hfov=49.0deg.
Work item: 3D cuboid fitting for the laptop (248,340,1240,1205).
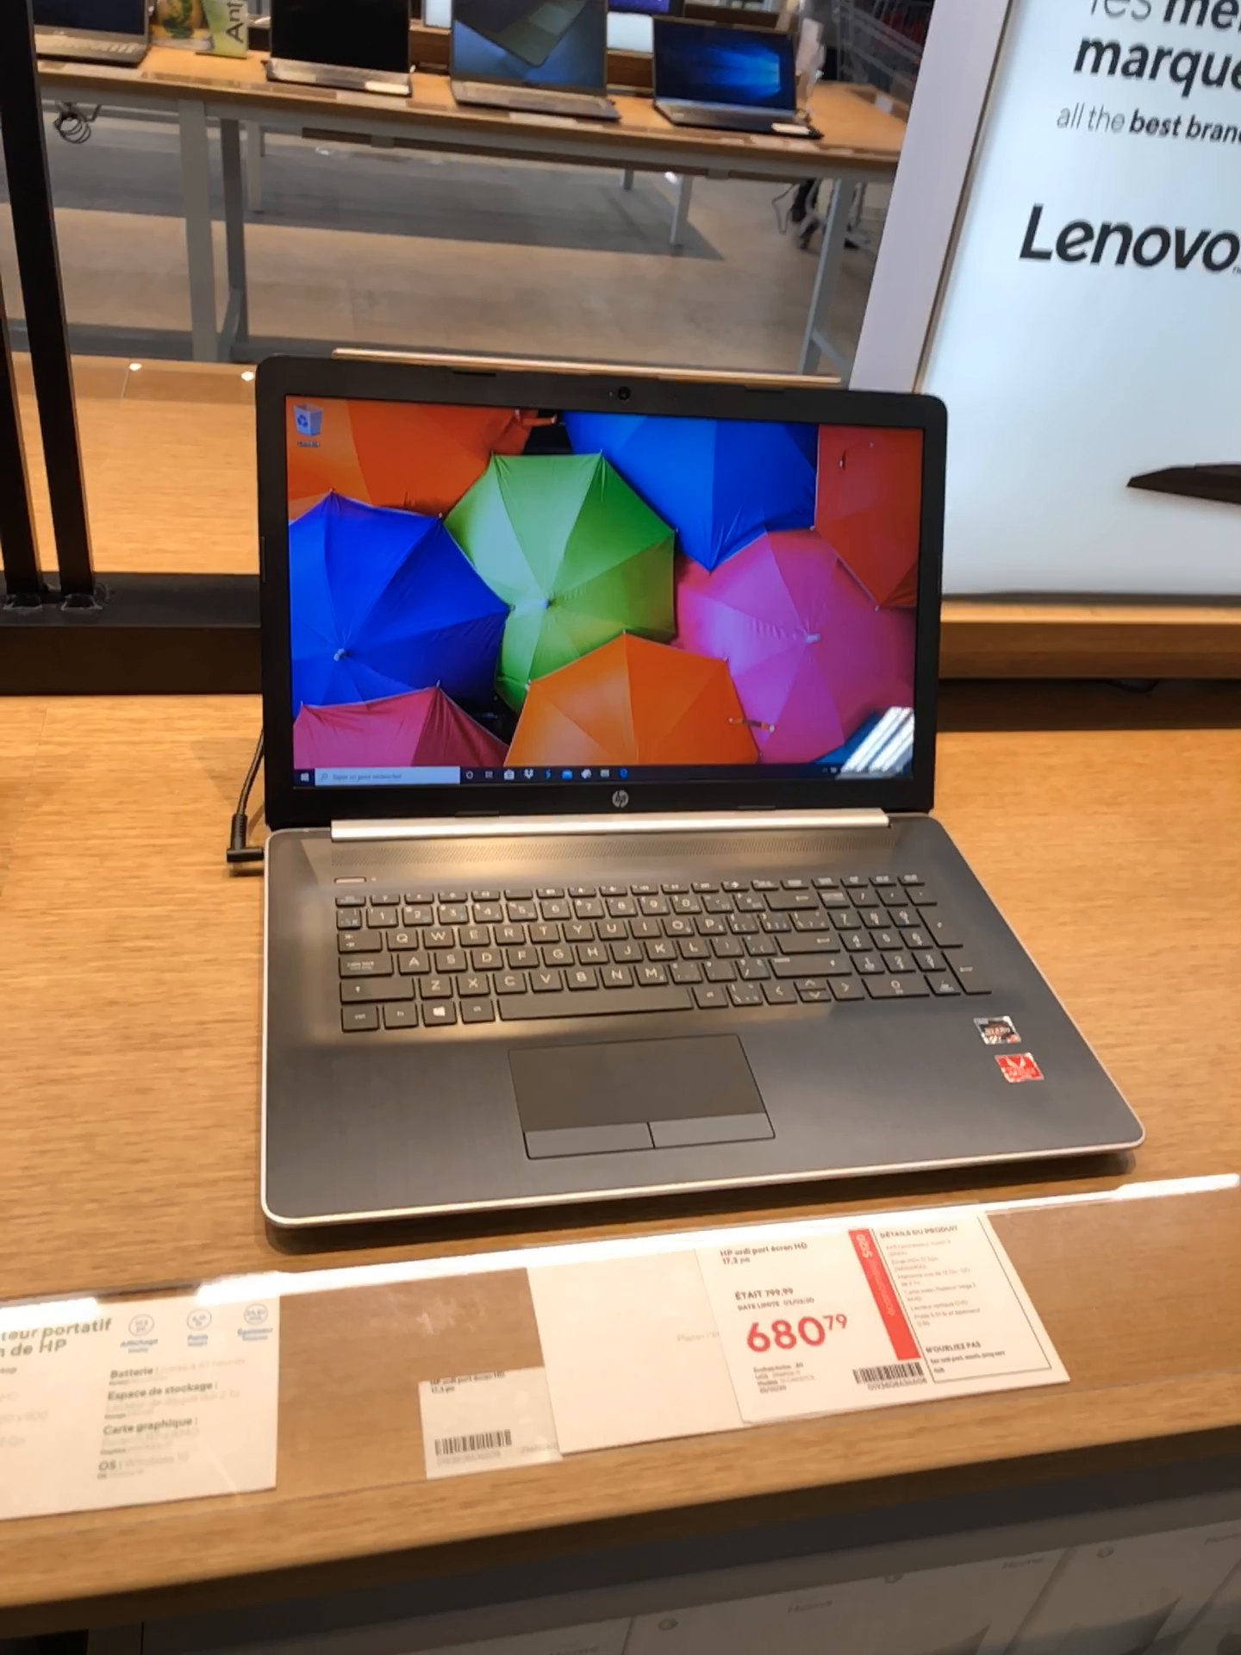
[{"bbox_3d":[0.018,-0.060,0.712,0.399,0.217,0.399,-1,39,-14],"label":"laptop"}]
